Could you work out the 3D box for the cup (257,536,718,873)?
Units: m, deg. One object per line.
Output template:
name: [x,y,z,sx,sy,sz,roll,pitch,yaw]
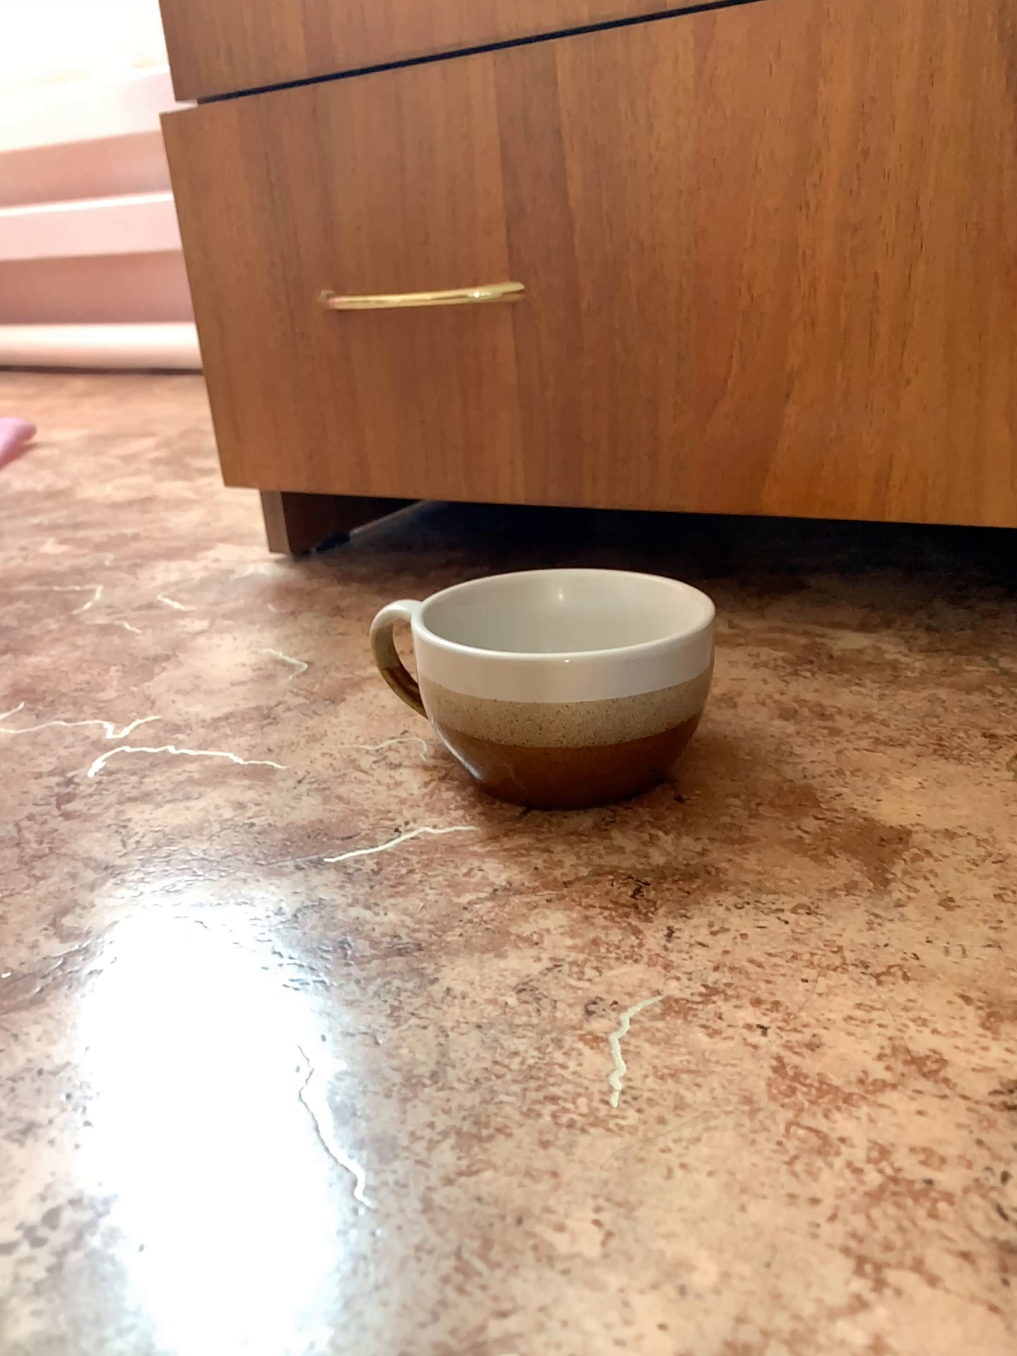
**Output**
cup: [-0.004,0.000,0.344,0.115,0.060,0.090,12,27,32]
